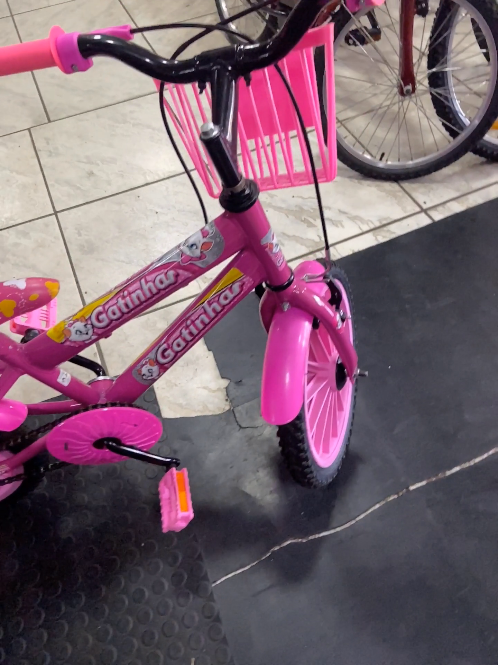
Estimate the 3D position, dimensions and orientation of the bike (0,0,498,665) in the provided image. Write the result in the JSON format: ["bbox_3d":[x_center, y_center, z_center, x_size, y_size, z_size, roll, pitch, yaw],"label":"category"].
[{"bbox_3d":[-0.264,-0.006,0.688,0.939,0.789,0.467,-20,55,-11],"label":"bike"}]
